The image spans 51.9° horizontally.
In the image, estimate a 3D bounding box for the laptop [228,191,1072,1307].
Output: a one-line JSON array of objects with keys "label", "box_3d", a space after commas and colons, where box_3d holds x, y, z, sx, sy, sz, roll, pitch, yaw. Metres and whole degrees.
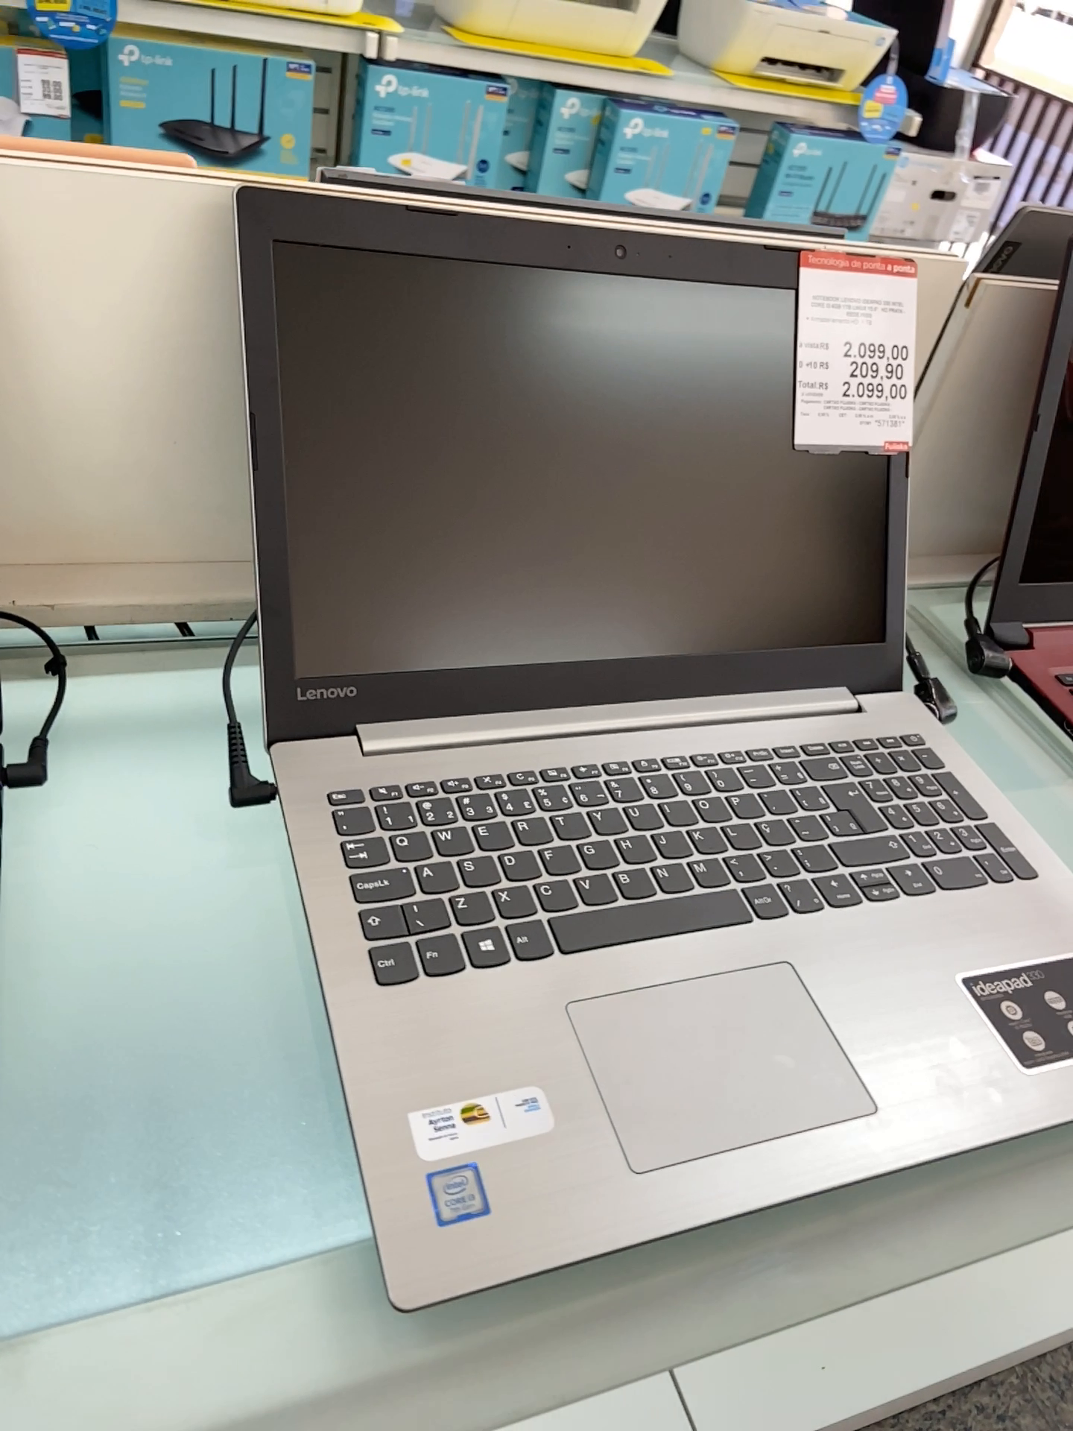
[{"label": "laptop", "box_3d": [0.084, -0.039, 0.473, 0.371, 0.194, 0.391, -4, 42, -22]}]
